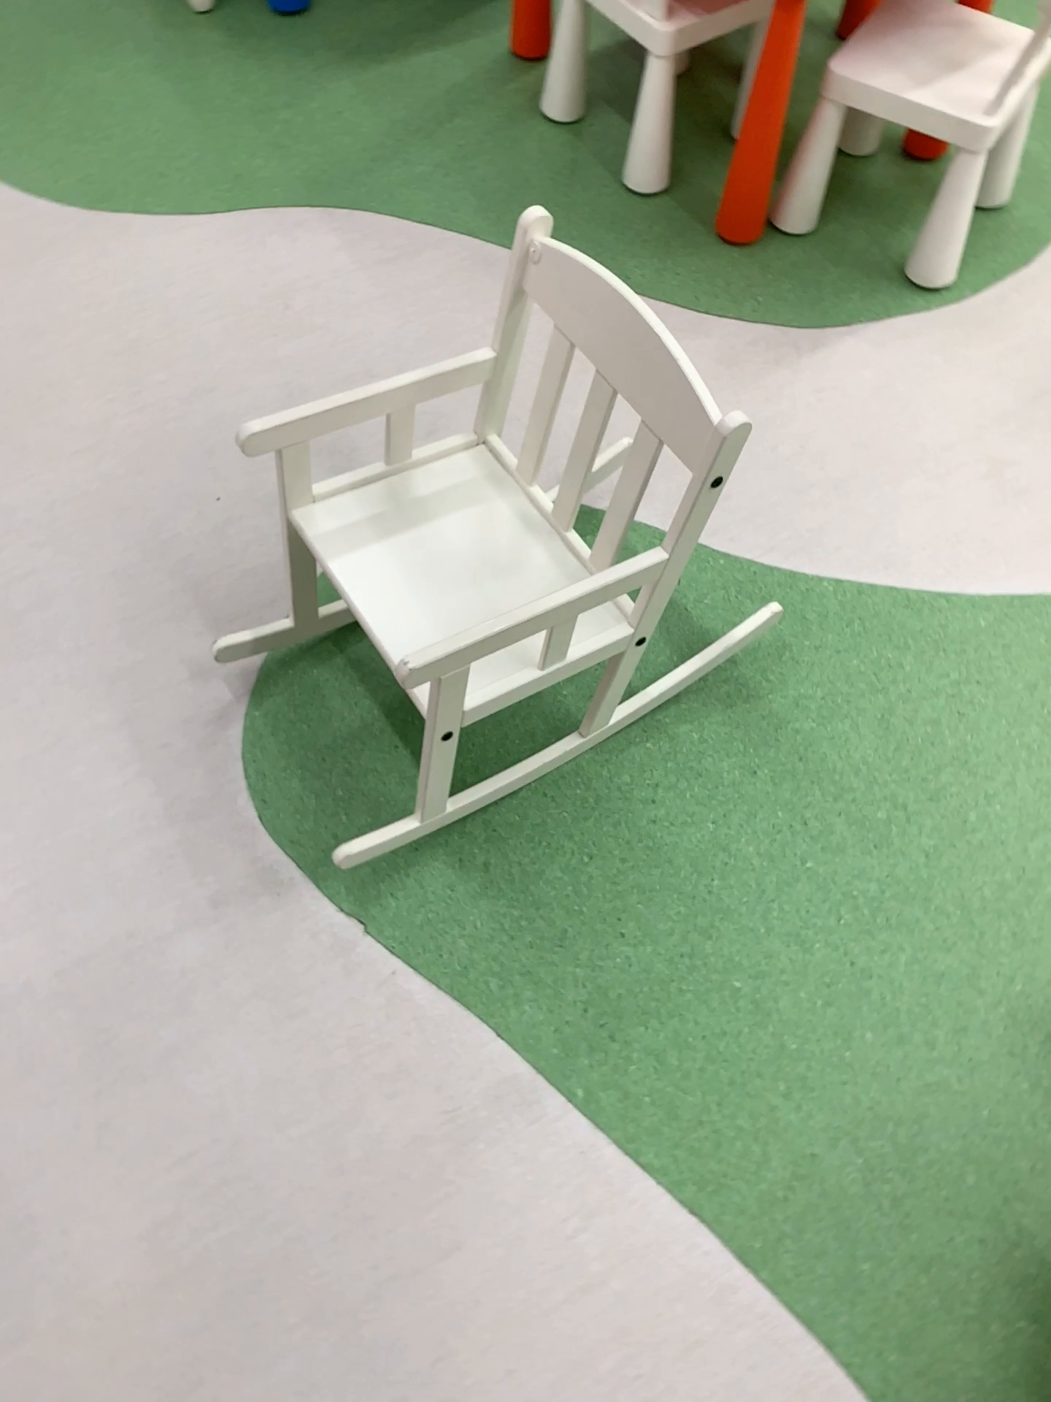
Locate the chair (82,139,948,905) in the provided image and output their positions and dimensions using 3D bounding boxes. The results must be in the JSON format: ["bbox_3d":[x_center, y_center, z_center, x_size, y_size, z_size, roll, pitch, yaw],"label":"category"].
[{"bbox_3d":[-0.007,-0.198,1.256,0.730,0.499,0.411,-28,64,-16],"label":"chair"}]
